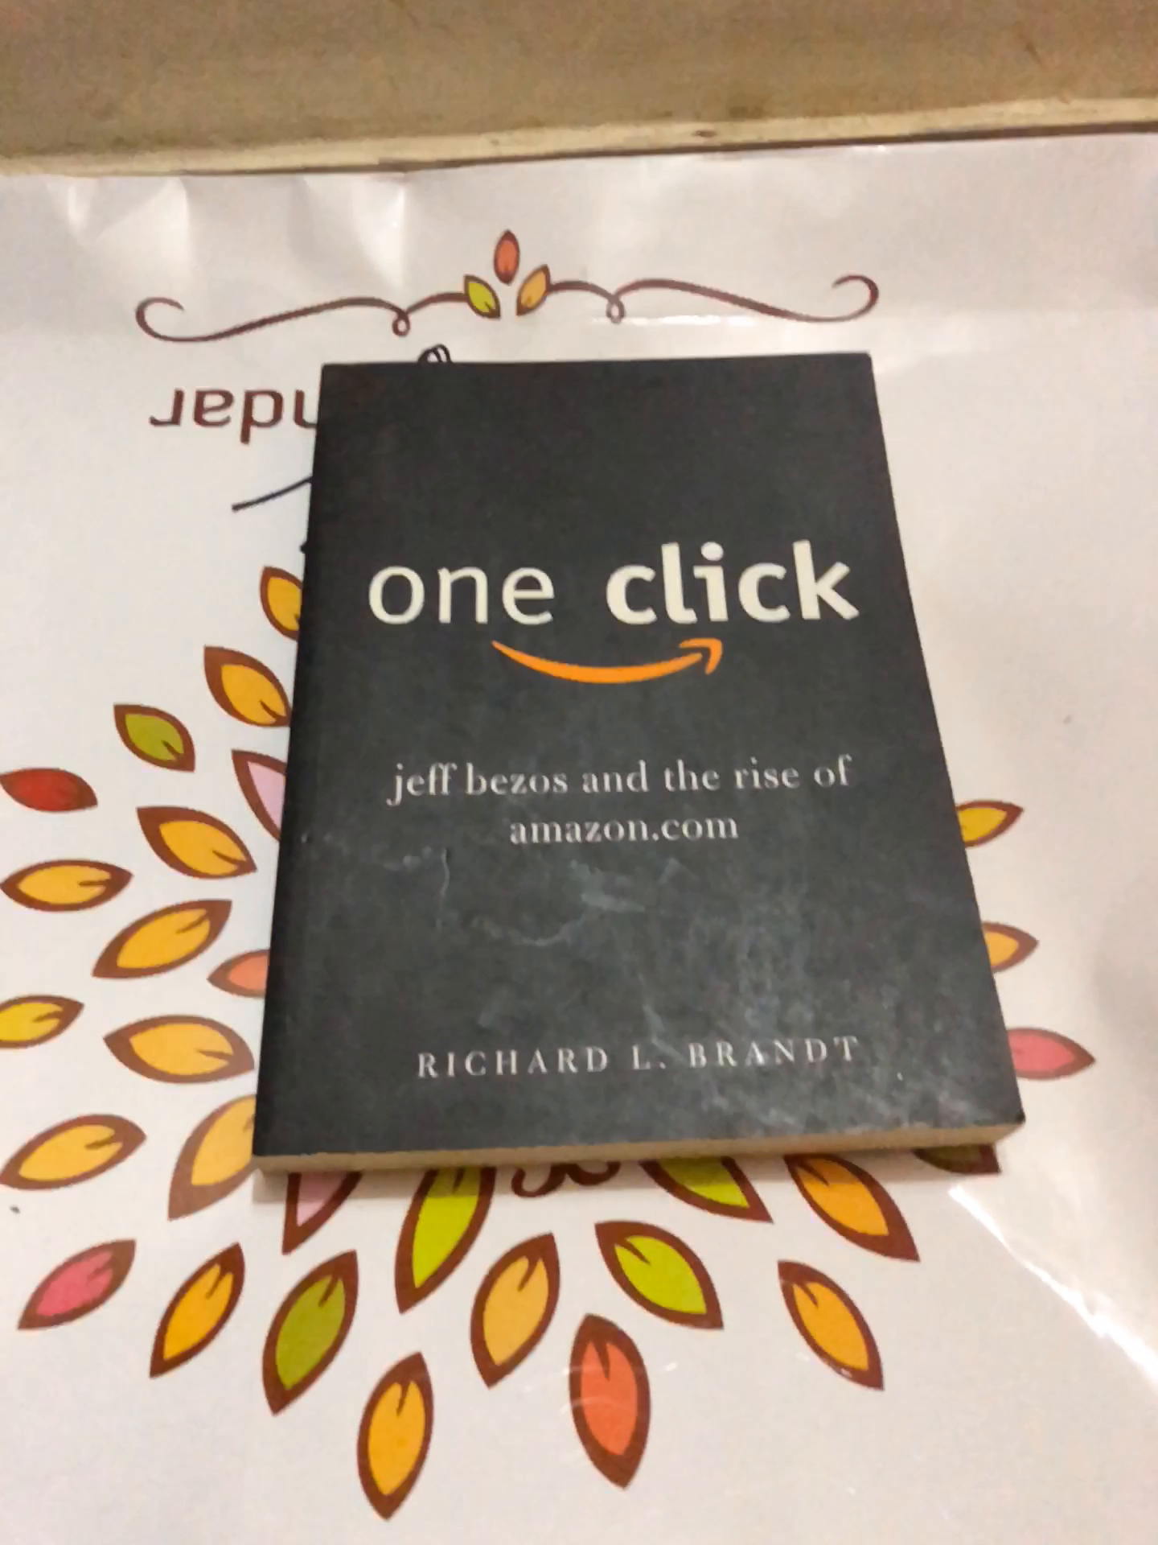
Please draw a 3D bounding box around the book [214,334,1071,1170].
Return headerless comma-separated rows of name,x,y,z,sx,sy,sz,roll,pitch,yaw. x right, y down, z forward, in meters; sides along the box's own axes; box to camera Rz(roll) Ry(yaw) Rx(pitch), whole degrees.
book,0.011,-0.020,0.308,0.160,0.020,0.221,-1,58,2
